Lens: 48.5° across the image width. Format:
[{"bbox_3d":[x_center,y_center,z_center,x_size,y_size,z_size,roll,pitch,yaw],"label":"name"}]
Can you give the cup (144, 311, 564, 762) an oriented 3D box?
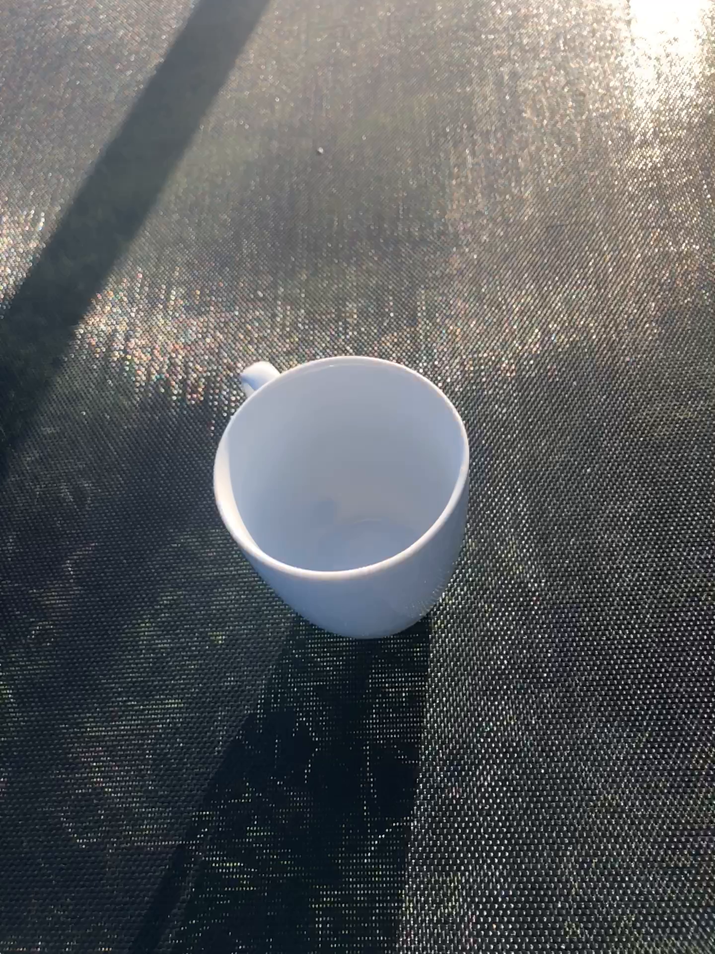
[{"bbox_3d":[-0.001,0.021,0.306,0.100,0.090,0.110,-31,56,-14],"label":"cup"}]
